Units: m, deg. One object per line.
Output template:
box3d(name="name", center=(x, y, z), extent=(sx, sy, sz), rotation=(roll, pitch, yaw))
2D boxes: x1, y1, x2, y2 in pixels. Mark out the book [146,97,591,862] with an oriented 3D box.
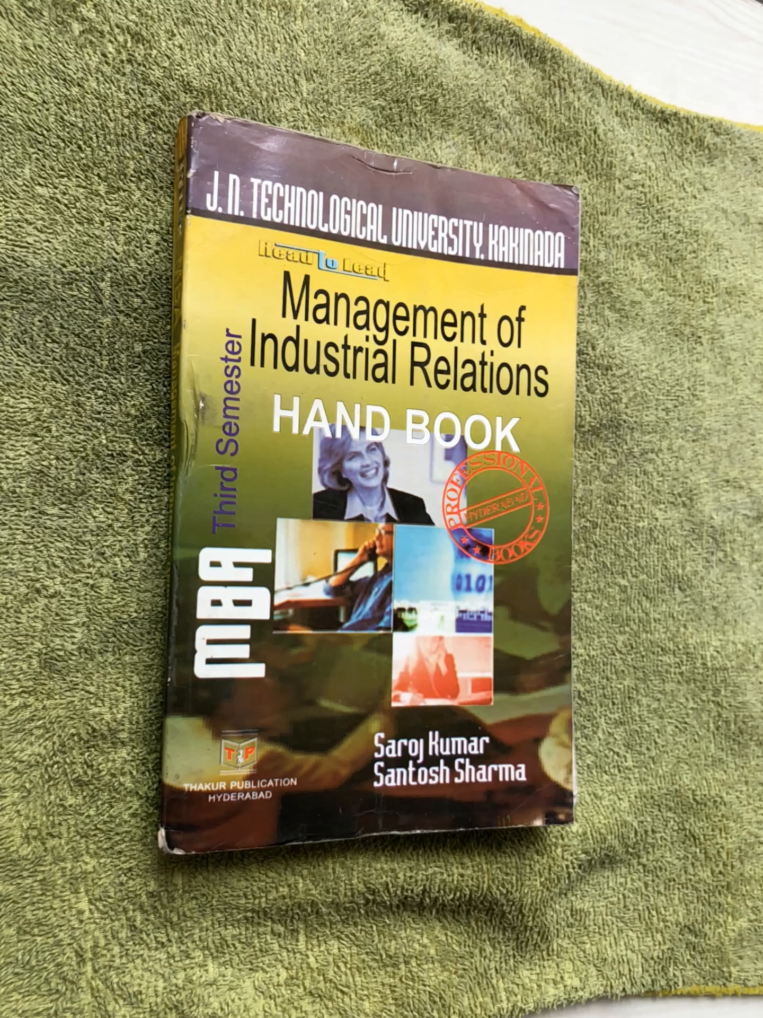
box3d(name="book", center=(-0.001, -0.007, 0.295), extent=(0.140, 0.050, 0.220), rotation=(3, 85, -24))
